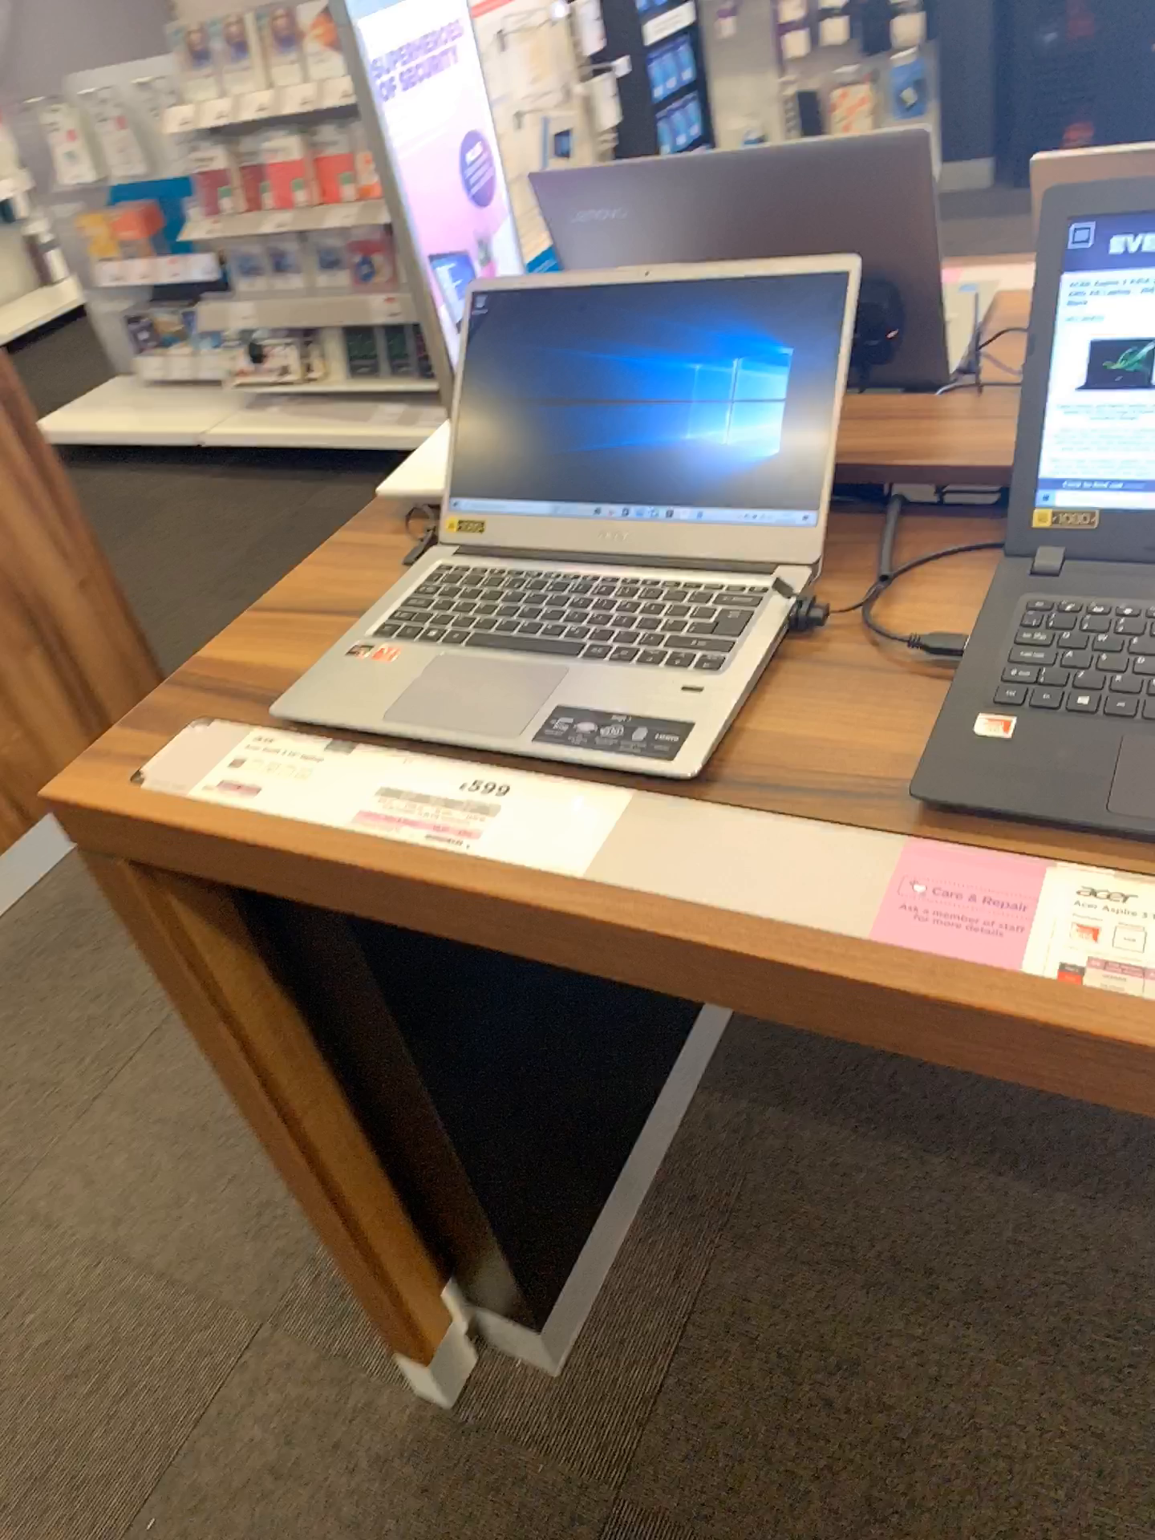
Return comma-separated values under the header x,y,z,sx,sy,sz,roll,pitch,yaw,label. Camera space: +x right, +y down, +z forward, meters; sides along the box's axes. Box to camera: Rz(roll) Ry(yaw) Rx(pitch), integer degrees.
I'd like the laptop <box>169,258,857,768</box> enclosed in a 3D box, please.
x,y,z,sx,sy,sz,roll,pitch,yaw,label
-0.017,-0.195,0.804,0.307,0.153,0.361,8,43,27,laptop

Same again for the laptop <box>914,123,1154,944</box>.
x,y,z,sx,sy,sz,roll,pitch,yaw,label
0.390,-0.148,0.589,0.371,0.191,0.358,7,43,24,laptop
